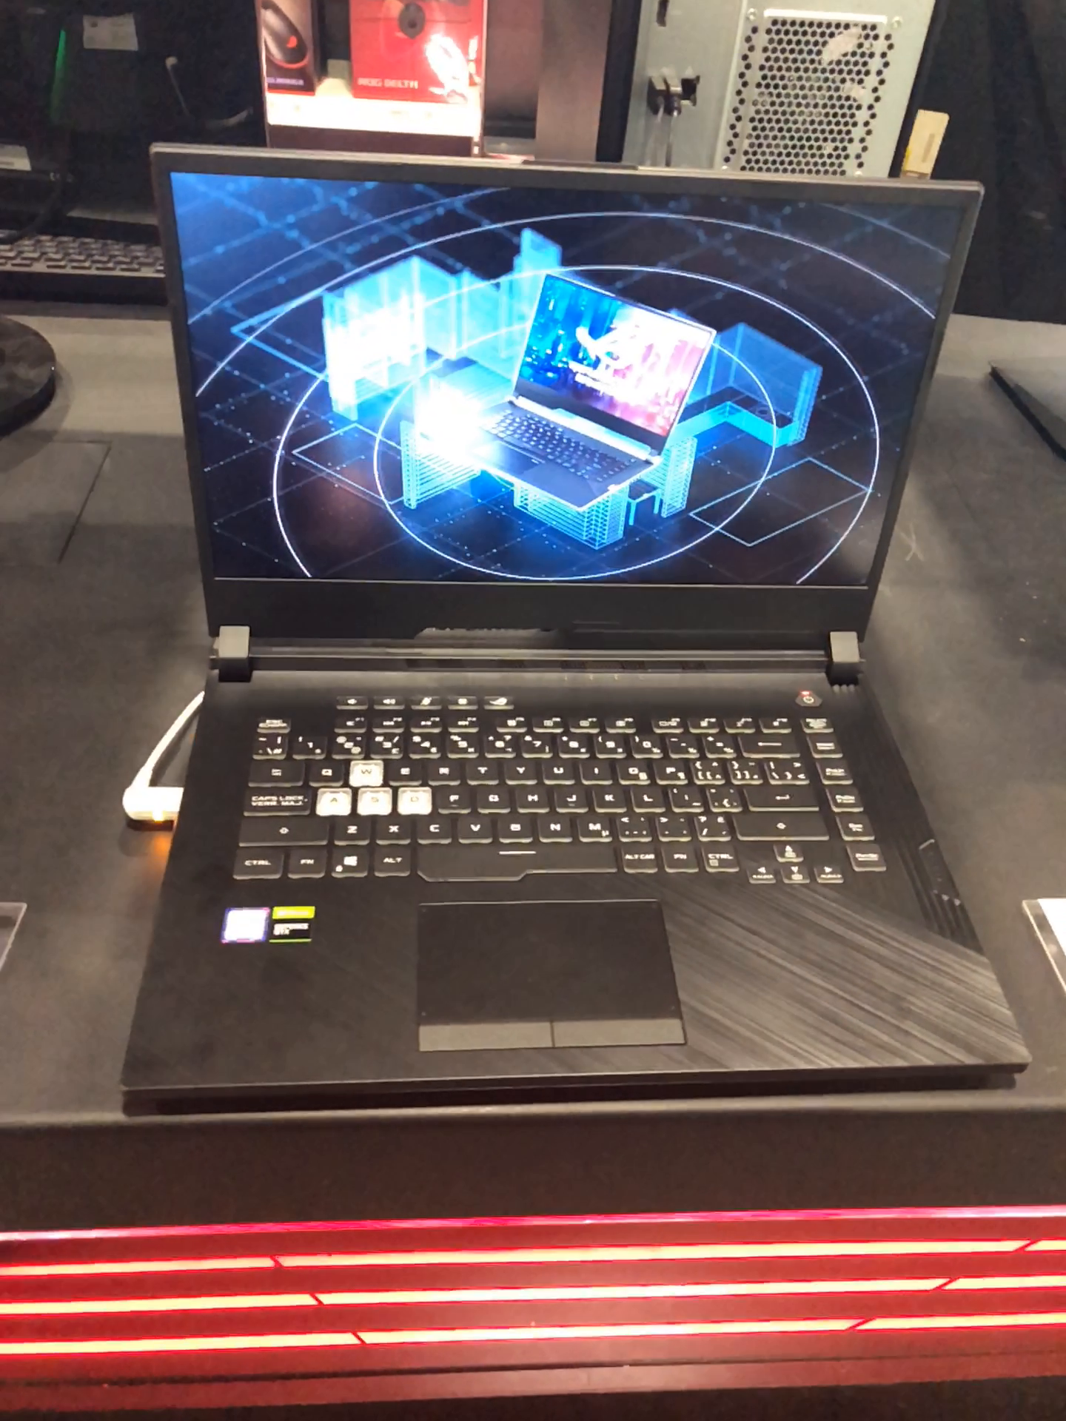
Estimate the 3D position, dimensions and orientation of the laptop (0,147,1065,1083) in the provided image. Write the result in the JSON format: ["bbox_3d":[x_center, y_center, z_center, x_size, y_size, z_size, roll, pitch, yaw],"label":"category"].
[{"bbox_3d":[0.021,-0.044,0.471,0.349,0.243,0.281,0,41,-6],"label":"laptop"}]
